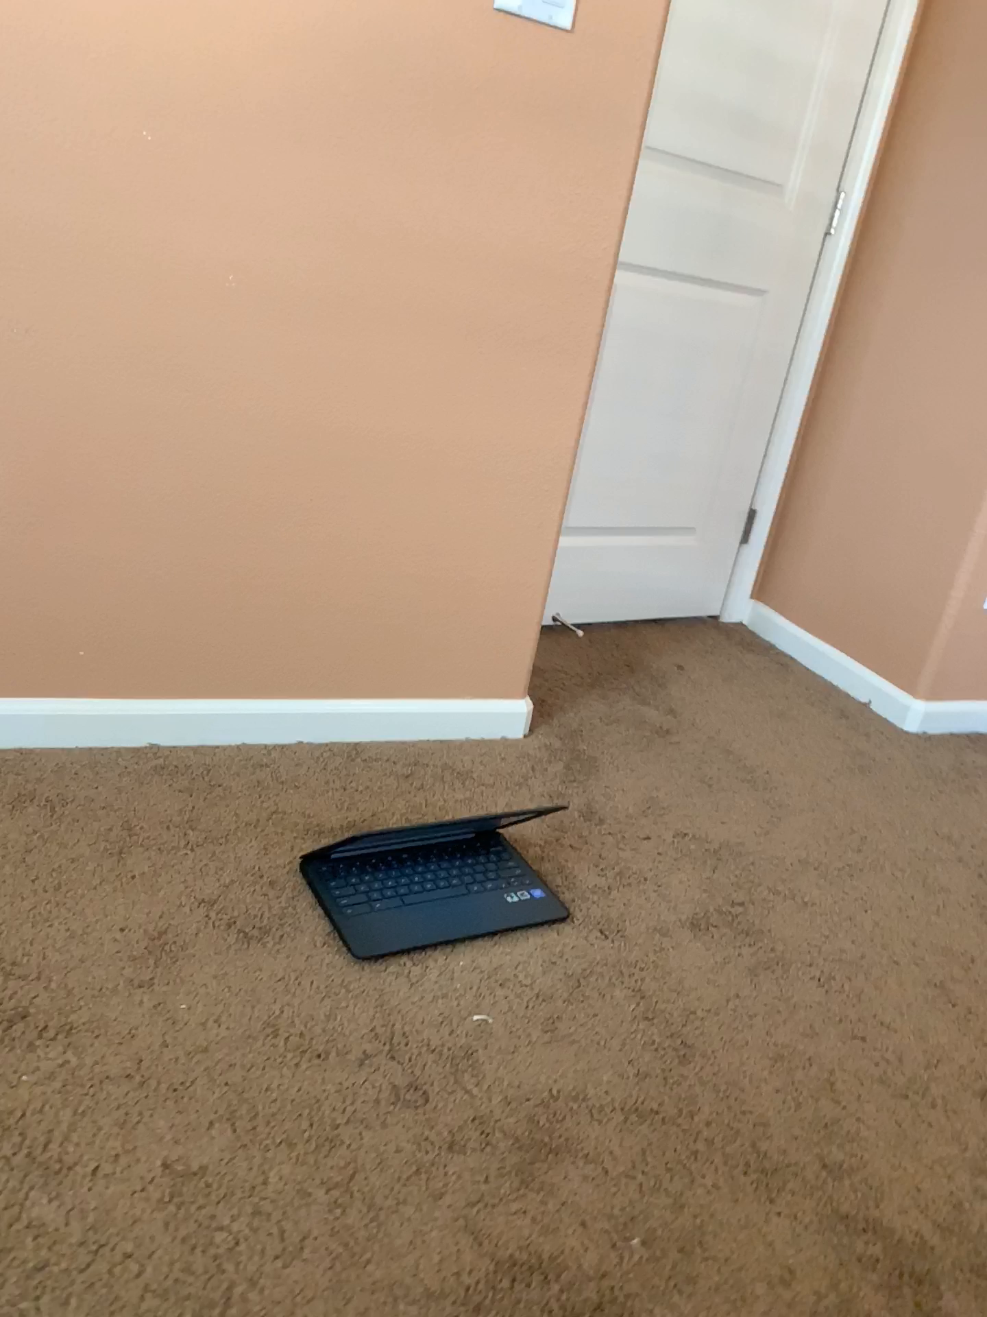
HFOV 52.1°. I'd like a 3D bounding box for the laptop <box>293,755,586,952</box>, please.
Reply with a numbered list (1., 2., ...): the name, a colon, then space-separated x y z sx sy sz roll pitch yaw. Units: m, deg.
1. laptop: -0.072 0.231 1.261 0.289 0.127 0.195 -2 22 -30
